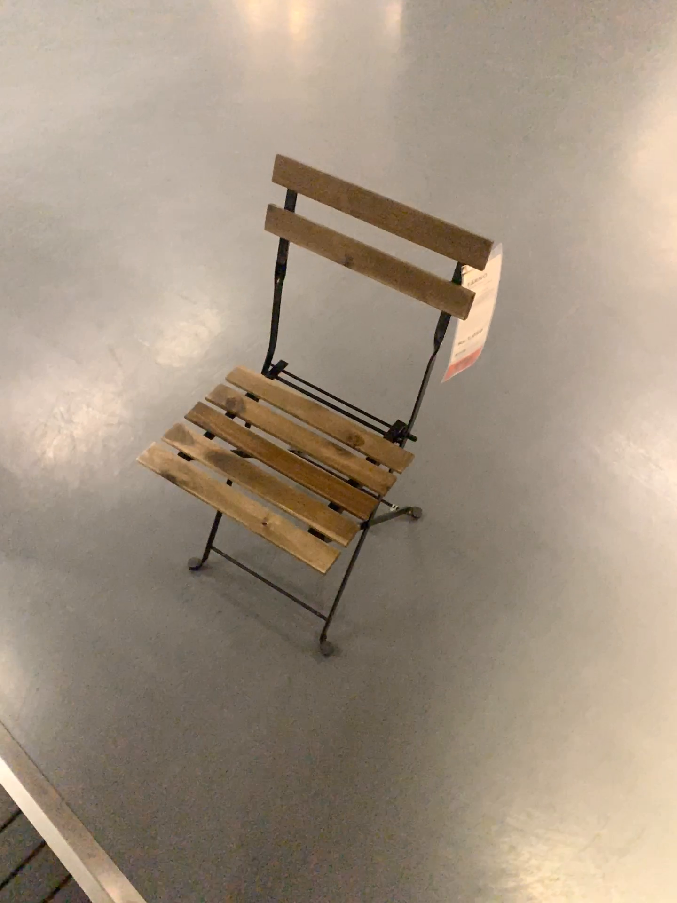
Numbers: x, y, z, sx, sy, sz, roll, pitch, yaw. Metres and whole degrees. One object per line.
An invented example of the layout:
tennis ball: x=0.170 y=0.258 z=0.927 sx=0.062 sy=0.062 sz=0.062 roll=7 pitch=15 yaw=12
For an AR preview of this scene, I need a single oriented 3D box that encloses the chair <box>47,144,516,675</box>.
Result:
chair: x=-0.059 y=-0.035 z=1.221 sx=0.420 sy=0.698 sz=0.501 roll=29 pitch=61 yaw=19
